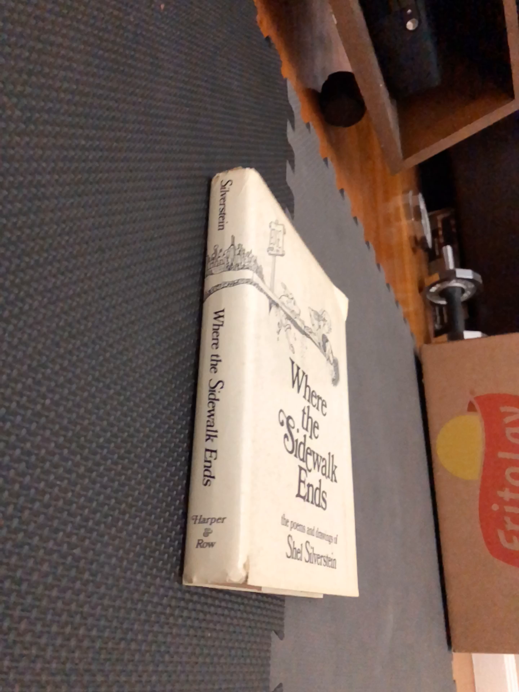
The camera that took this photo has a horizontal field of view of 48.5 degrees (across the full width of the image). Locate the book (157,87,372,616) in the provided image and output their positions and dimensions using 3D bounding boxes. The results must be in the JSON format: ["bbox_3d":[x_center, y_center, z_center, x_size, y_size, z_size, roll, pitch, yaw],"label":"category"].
[{"bbox_3d":[0.018,0.015,0.366,0.201,0.030,0.280,42,42,-54],"label":"book"}]
